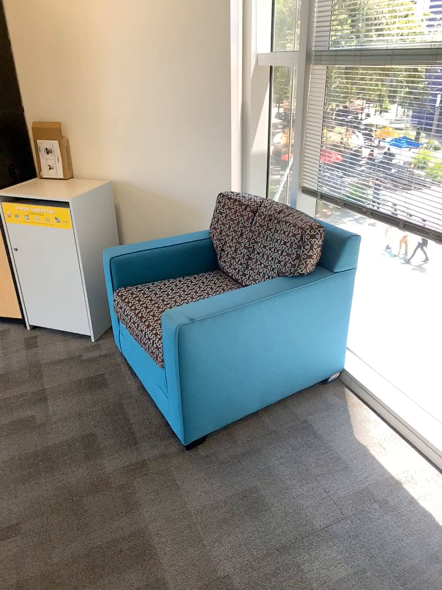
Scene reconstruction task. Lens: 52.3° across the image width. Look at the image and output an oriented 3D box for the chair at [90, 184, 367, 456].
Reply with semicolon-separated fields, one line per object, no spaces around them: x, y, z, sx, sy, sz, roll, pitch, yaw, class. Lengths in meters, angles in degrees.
-0.008;0.008;2.235;0.910;0.805;0.935;-16;30;-26;chair
